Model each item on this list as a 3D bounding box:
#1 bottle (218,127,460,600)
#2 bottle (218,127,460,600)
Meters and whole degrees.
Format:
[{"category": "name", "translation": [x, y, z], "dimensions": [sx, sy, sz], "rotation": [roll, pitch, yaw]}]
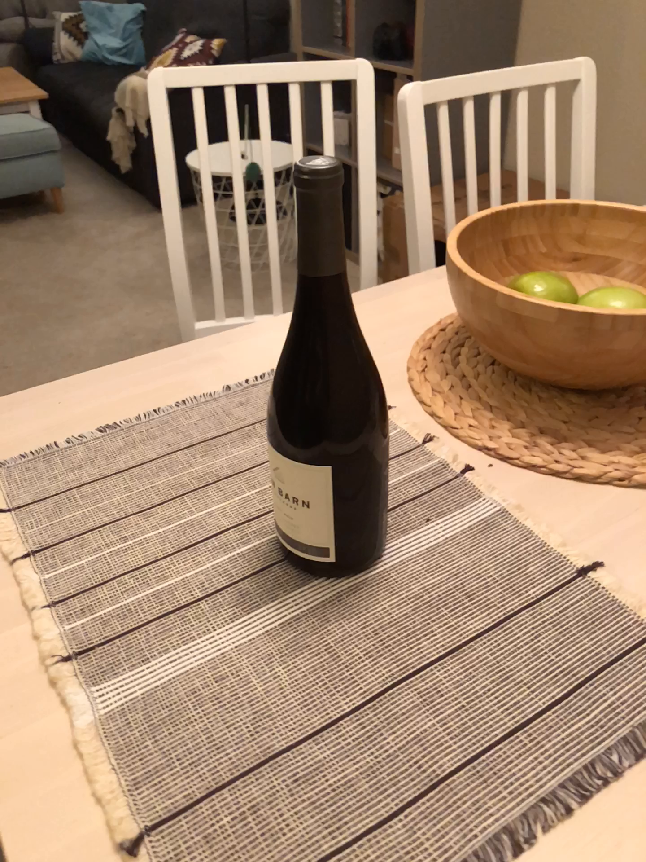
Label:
[{"category": "bottle", "translation": [0.011, -0.036, 0.480], "dimensions": [0.100, 0.288, 0.090], "rotation": [-25, 42, -30]}, {"category": "bottle", "translation": [0.011, -0.036, 0.480], "dimensions": [0.100, 0.288, 0.090], "rotation": [-25, 42, -30]}]
